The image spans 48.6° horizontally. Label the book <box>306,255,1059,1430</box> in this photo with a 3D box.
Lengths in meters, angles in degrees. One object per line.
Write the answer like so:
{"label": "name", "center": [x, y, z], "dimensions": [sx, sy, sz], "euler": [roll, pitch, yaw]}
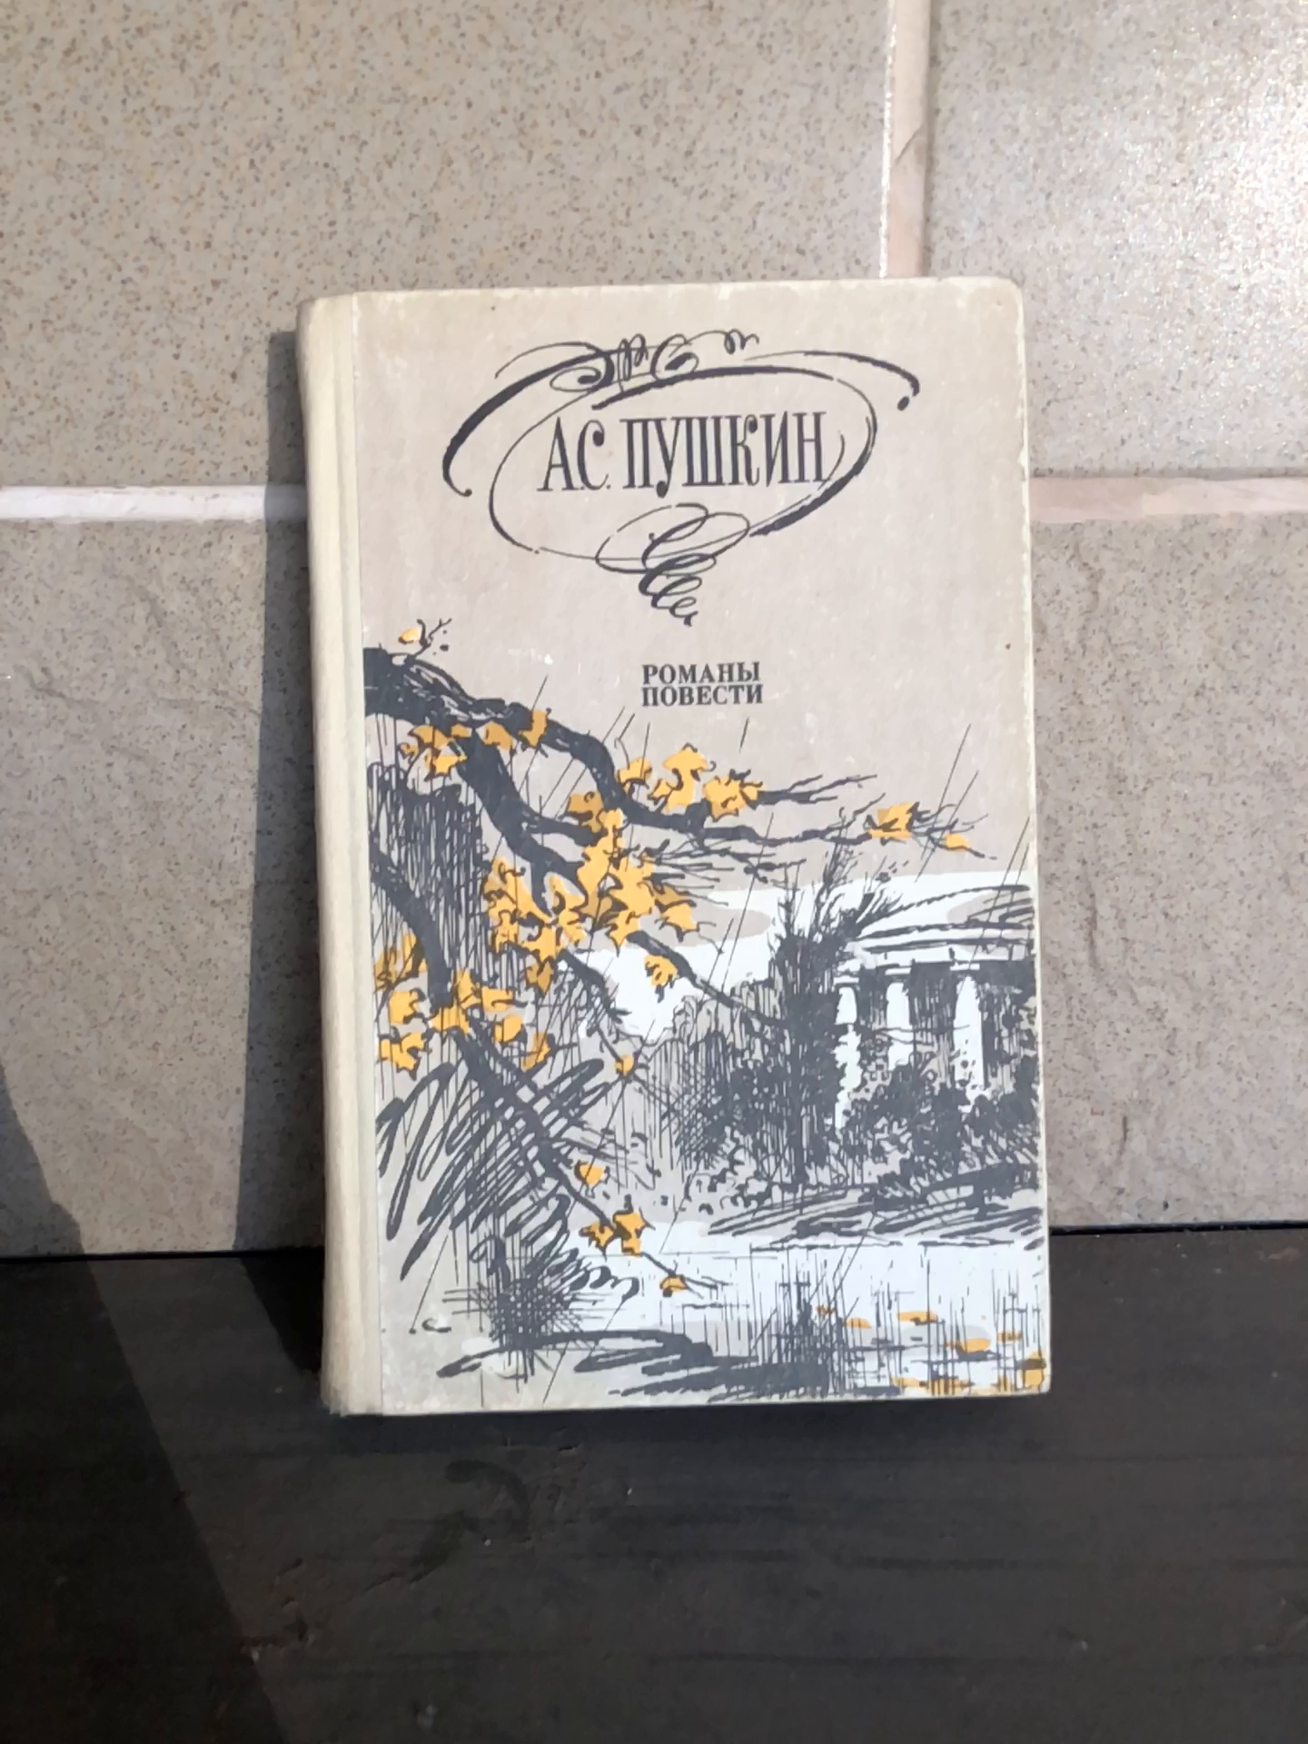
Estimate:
{"label": "book", "center": [0.005, -0.005, 0.266], "dimensions": [0.125, 0.197, 0.040], "euler": [-1, 1, -1]}
